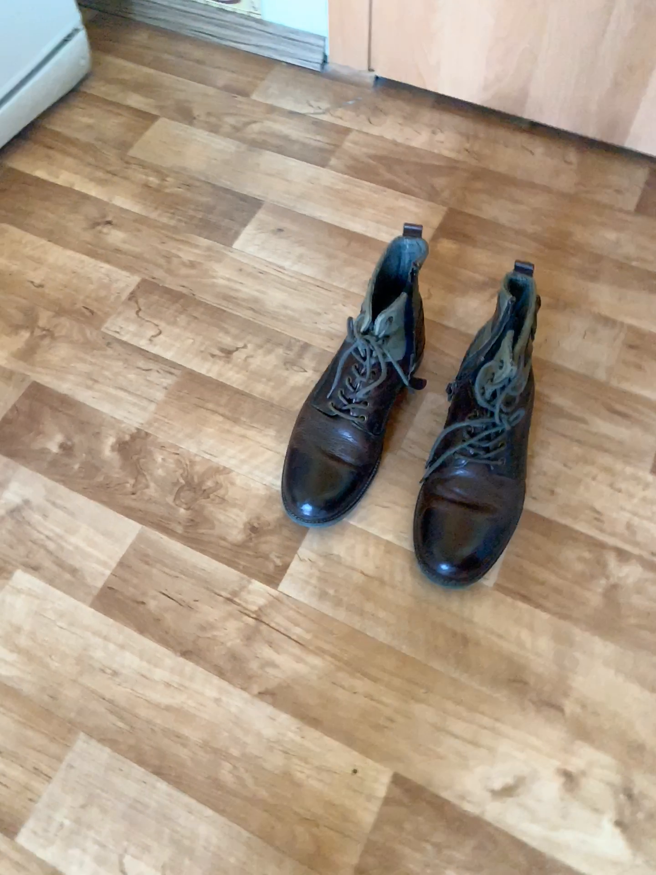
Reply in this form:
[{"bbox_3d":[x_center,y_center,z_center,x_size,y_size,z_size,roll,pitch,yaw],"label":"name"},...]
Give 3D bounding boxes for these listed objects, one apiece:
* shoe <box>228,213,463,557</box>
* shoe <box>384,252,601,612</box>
[{"bbox_3d":[0.028,-0.058,0.695,0.110,0.150,0.310,20,64,12],"label":"shoe"},{"bbox_3d":[0.164,-0.009,0.670,0.110,0.150,0.310,19,63,12],"label":"shoe"}]
